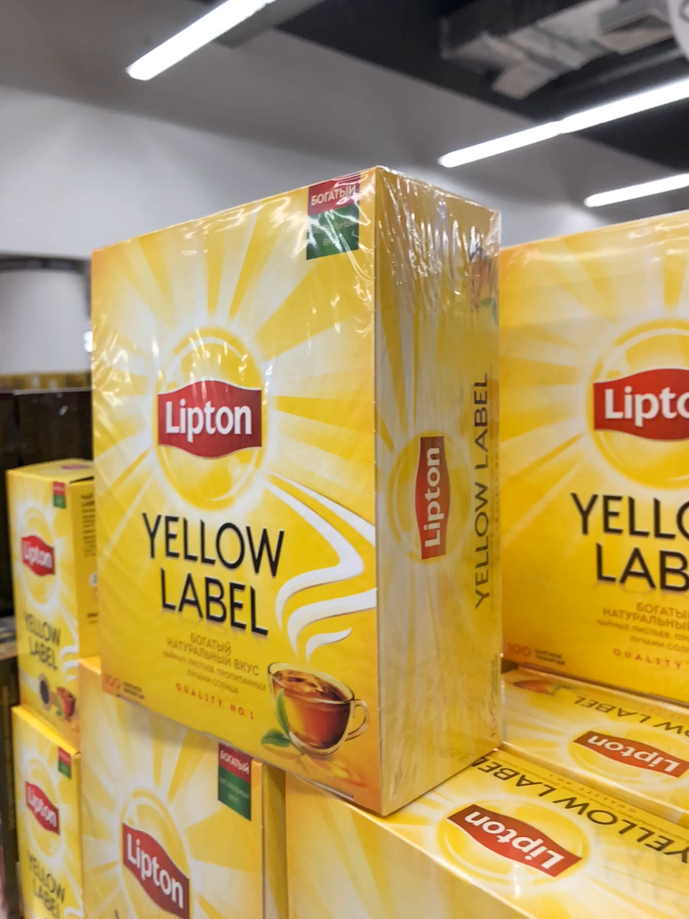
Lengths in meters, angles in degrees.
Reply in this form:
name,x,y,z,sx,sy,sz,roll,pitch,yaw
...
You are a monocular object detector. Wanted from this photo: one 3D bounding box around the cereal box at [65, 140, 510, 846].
name,x,y,z,sx,sy,sz,roll,pitch,yaw
cereal box,-0.025,0.006,0.258,0.140,0.170,0.070,2,3,43
